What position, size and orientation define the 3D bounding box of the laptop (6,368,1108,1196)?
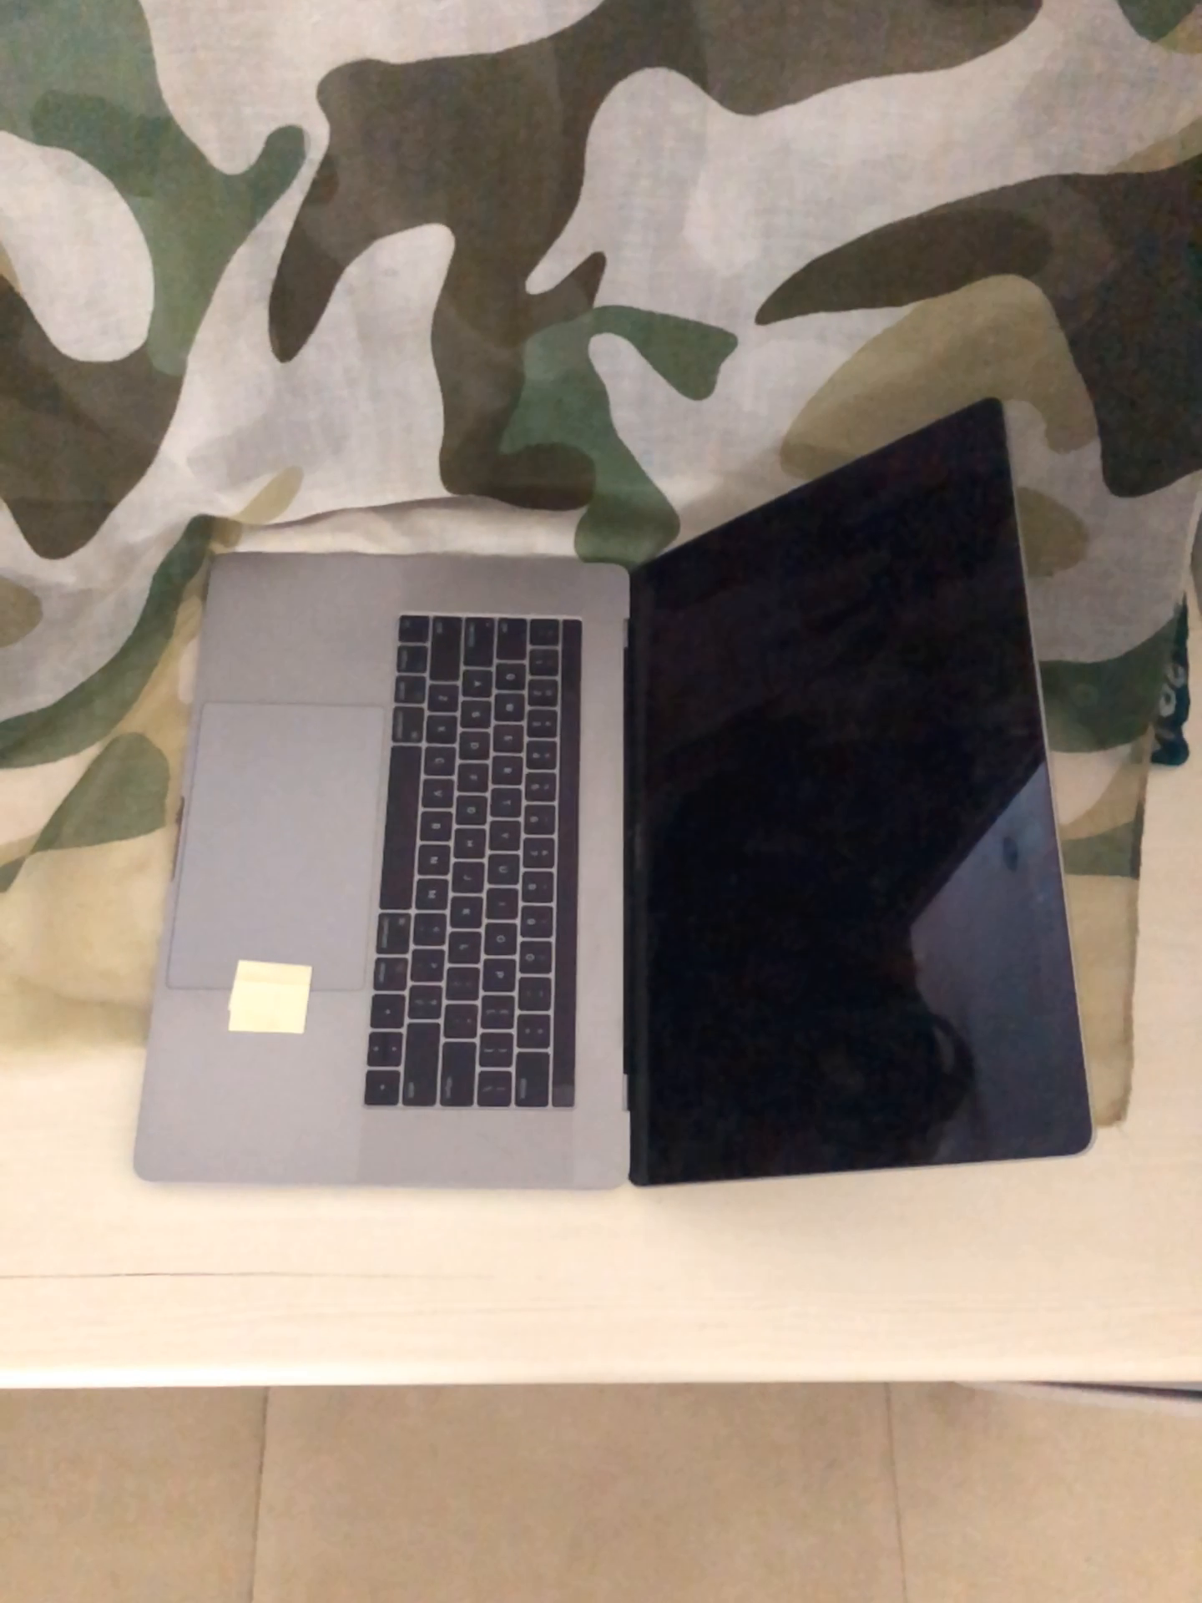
[{"bbox_3d":[-0.018,-0.005,0.624,0.402,0.166,0.342,1,68,-1],"label":"laptop"}]
